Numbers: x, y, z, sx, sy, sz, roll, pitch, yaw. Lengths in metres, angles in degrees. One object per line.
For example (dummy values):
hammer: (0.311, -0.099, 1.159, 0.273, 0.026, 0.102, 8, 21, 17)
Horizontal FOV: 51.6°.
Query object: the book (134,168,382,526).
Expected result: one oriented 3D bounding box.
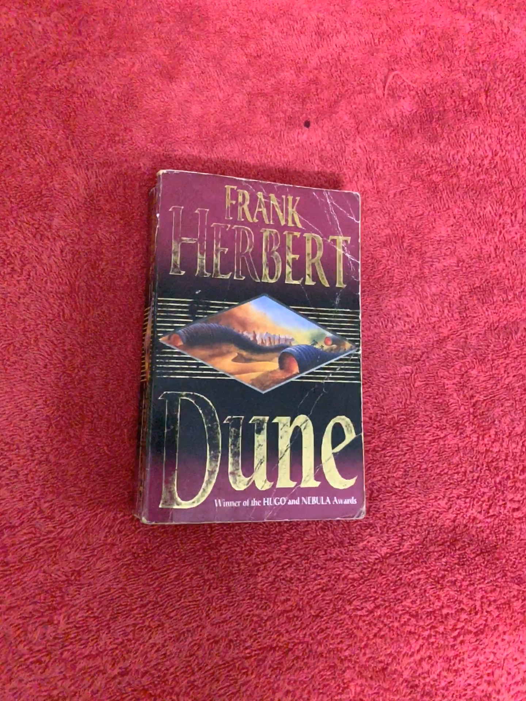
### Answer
book: (-0.003, -0.001, 0.278, 0.114, 0.040, 0.165, 2, 80, -12)
